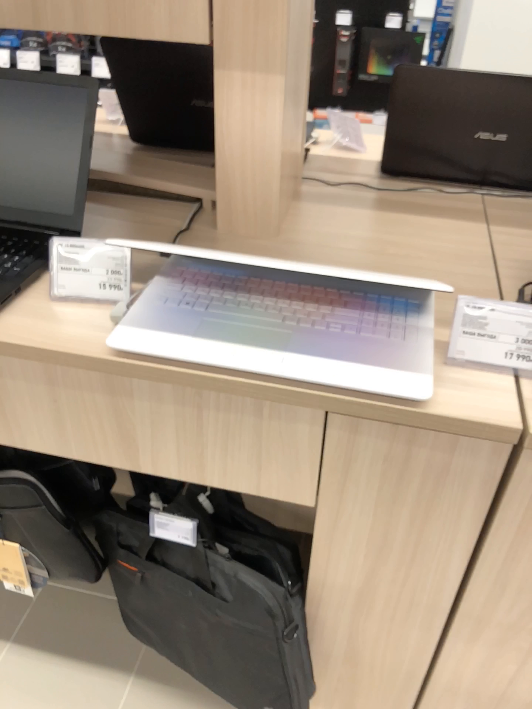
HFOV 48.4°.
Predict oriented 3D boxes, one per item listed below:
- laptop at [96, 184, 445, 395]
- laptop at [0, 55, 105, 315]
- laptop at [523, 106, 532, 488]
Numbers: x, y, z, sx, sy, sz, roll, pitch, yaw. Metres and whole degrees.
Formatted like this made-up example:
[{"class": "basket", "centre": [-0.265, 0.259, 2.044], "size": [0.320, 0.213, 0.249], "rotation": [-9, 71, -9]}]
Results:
[{"class": "laptop", "centre": [0.021, -0.096, 0.730], "size": [0.368, 0.103, 0.233], "rotation": [9, 39, 10]}, {"class": "laptop", "centre": [-0.501, -0.274, 0.857], "size": [0.386, 0.203, 0.370], "rotation": [10, 36, 10]}, {"class": "laptop", "centre": [0.540, -0.096, 0.658], "size": [0.391, 0.219, 0.351], "rotation": [10, 36, 8]}]
